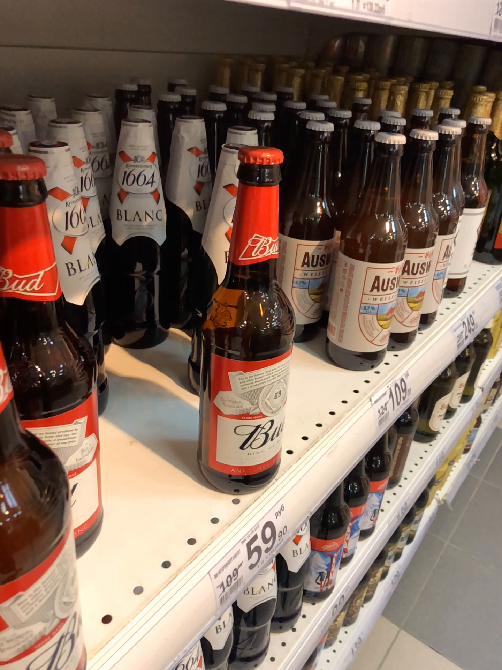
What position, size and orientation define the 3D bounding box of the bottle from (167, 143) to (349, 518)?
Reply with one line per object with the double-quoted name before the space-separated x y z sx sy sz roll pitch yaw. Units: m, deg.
"bottle" -0.004 0.001 0.396 0.070 0.249 0.080 29 36 35
